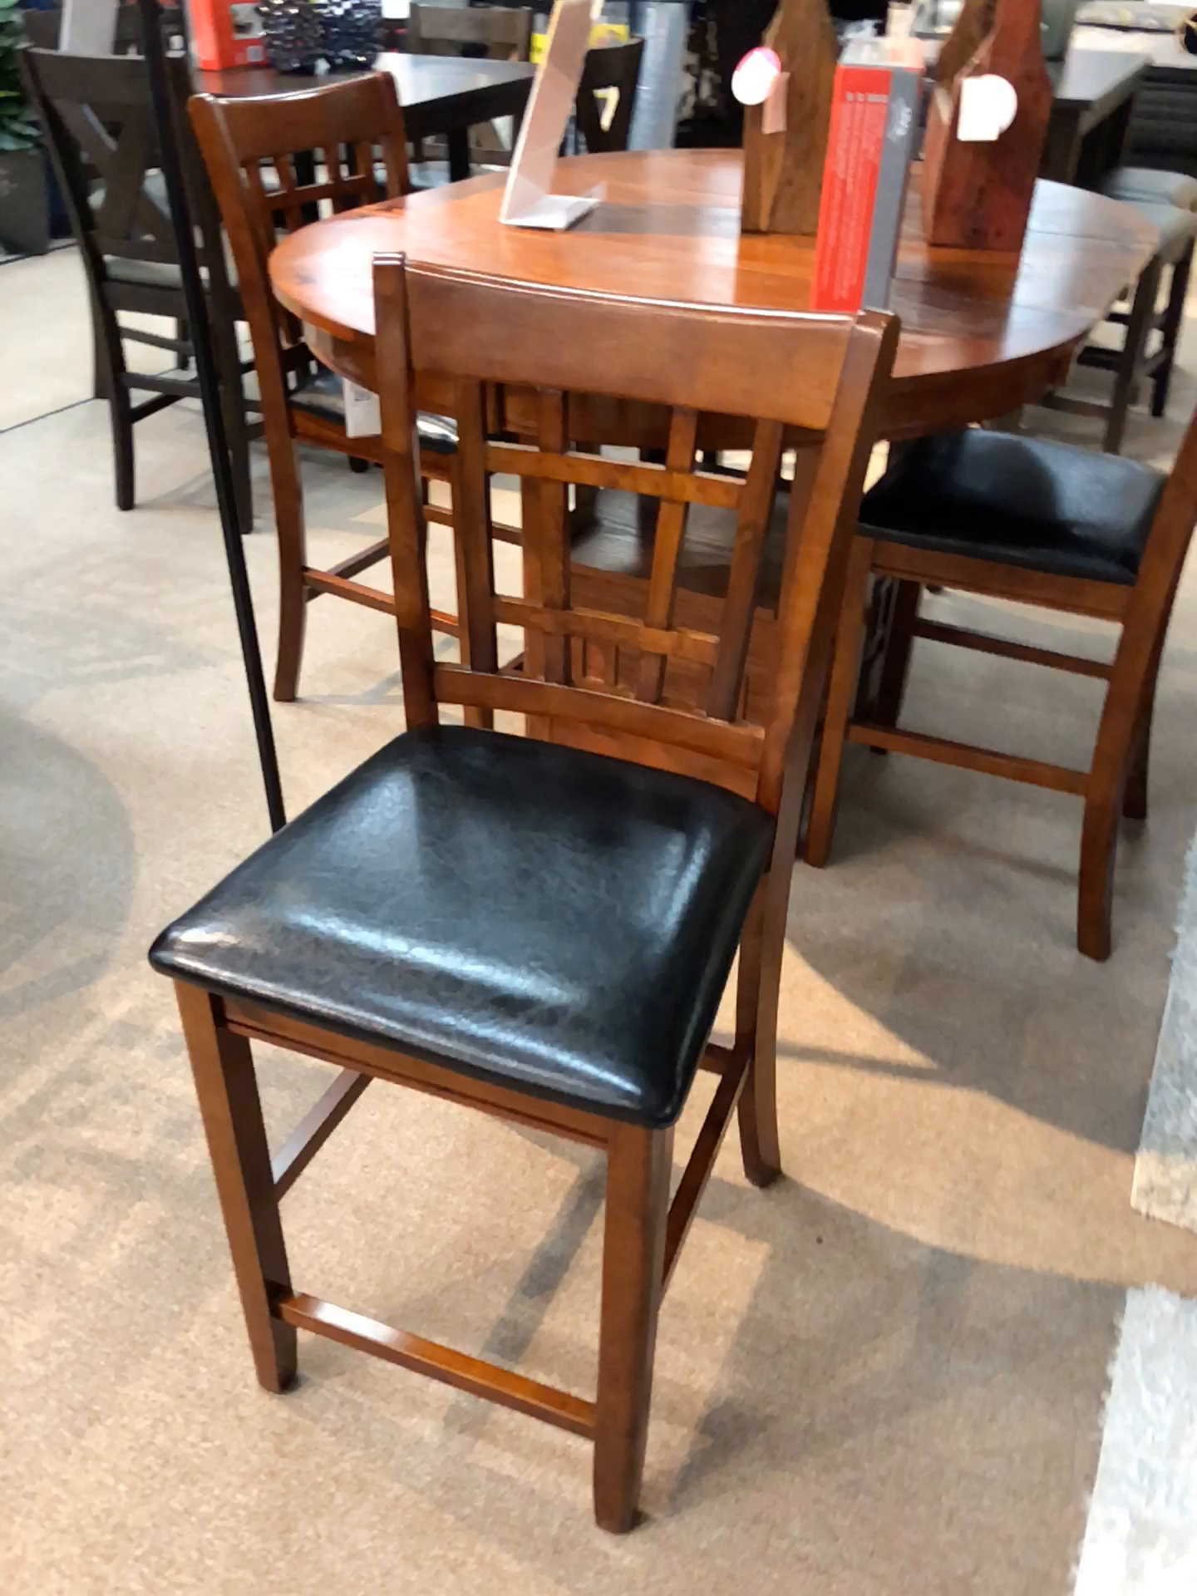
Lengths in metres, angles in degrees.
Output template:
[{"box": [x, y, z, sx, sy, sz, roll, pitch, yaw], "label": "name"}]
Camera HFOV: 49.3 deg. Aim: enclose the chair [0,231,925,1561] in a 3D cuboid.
[{"box": [-0.071, 0.085, 1.155, 0.471, 0.963, 0.523, 14, 36, 17], "label": "chair"}]
